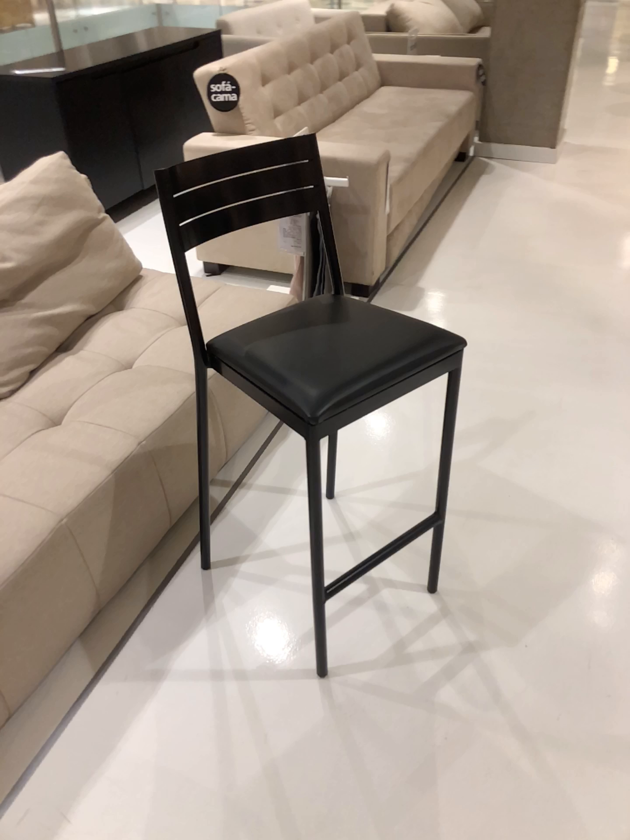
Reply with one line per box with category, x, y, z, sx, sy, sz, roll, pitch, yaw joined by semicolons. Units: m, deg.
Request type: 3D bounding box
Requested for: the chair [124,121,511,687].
chair;0.003;-0.025;1.388;0.421;0.942;0.472;-27;43;-31
